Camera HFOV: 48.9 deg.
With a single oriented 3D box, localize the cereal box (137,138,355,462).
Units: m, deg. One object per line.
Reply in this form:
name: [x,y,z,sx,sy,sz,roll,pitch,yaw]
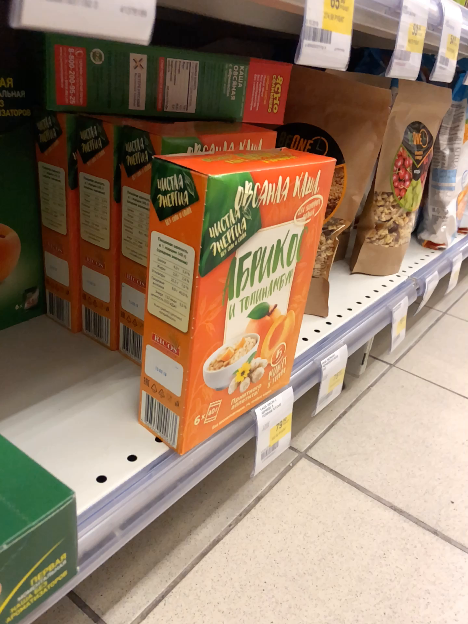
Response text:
cereal box: [0.007,-0.015,0.357,0.050,0.189,0.141,26,32,33]
